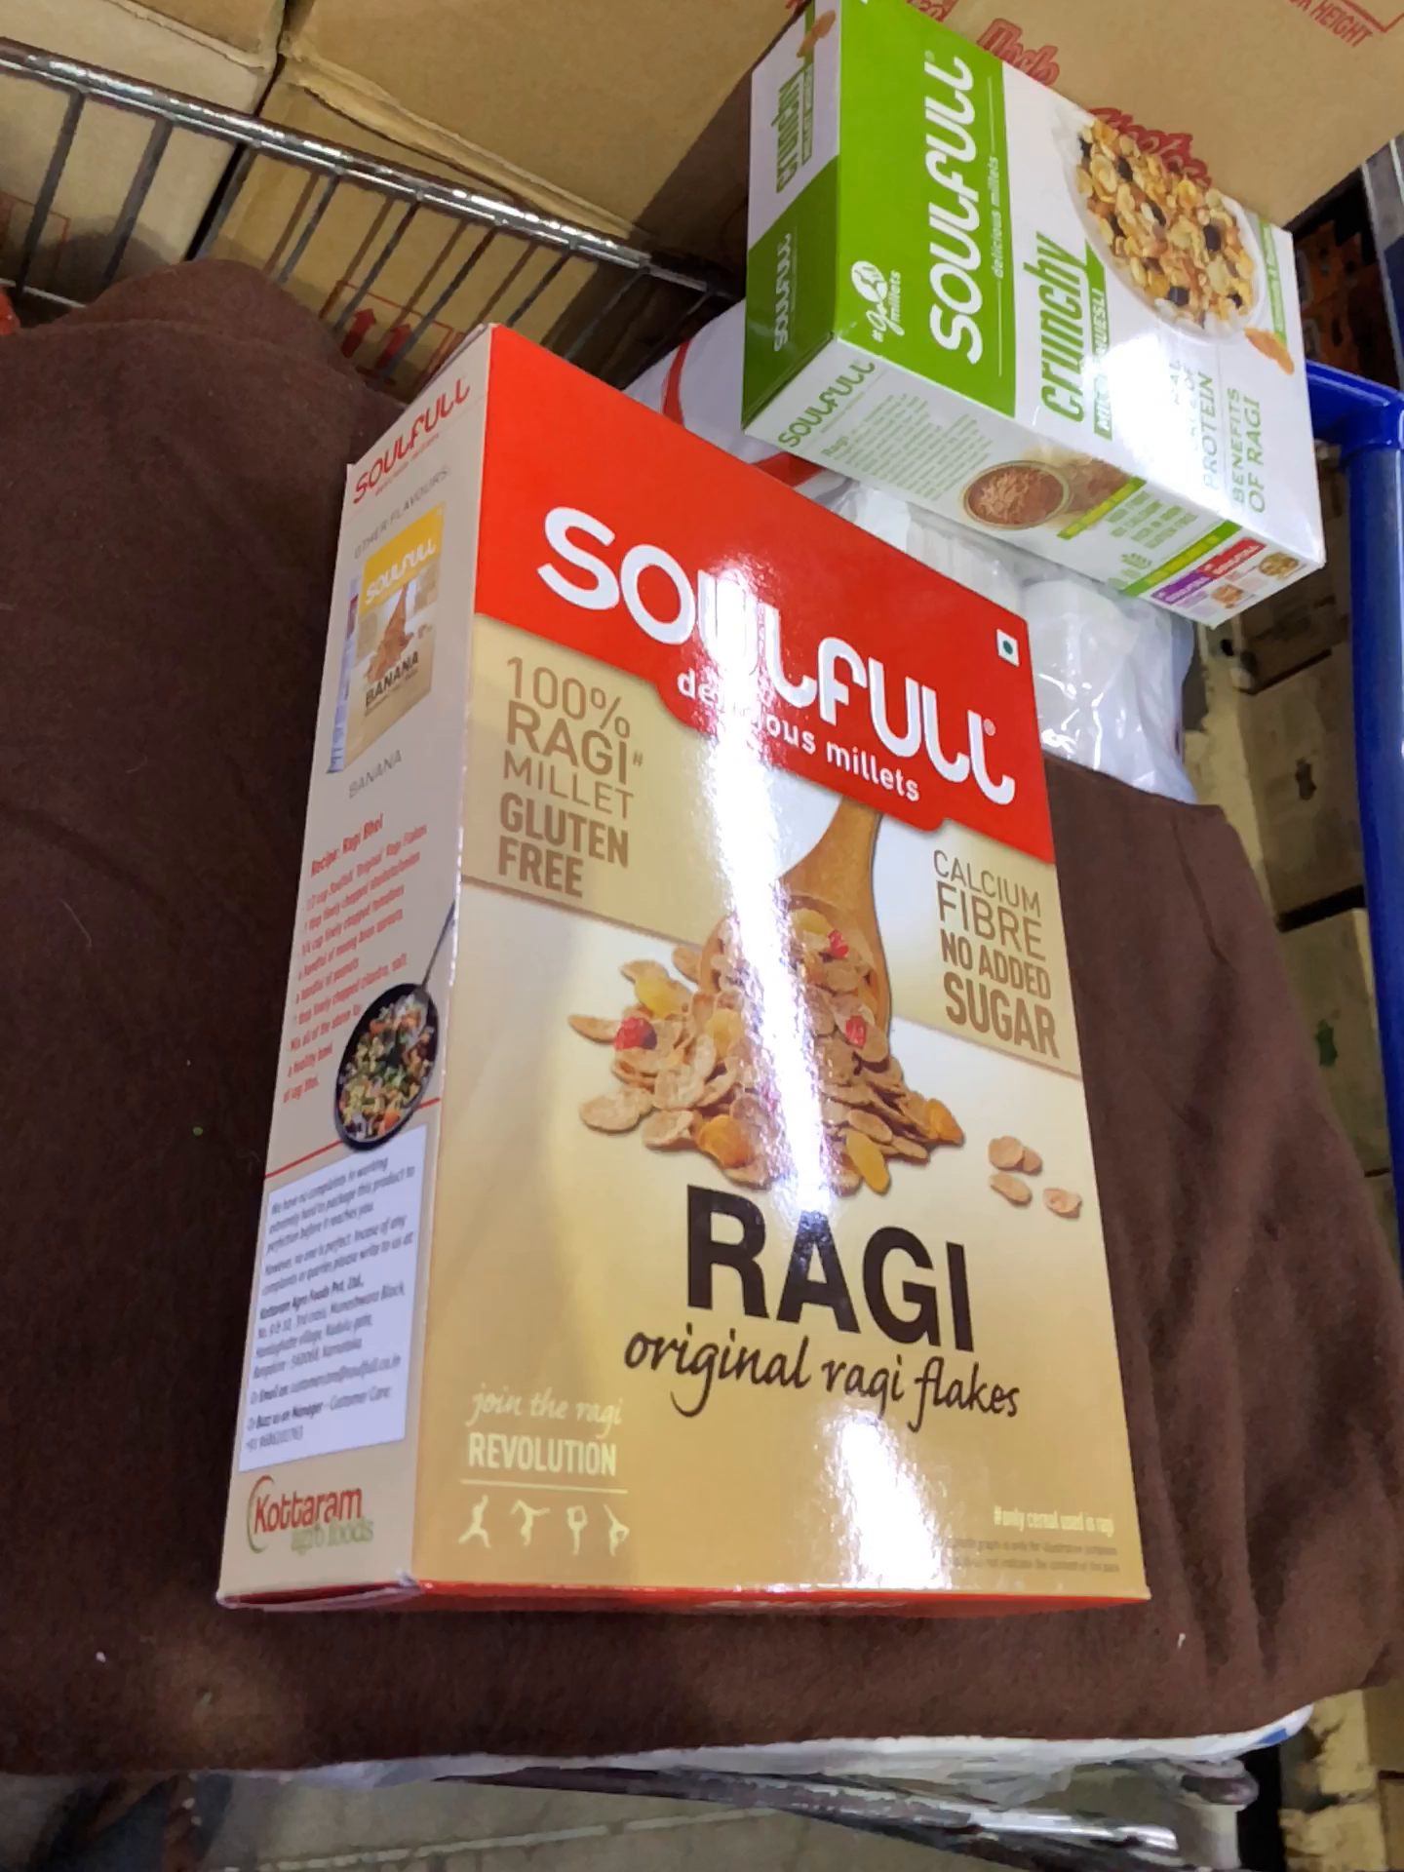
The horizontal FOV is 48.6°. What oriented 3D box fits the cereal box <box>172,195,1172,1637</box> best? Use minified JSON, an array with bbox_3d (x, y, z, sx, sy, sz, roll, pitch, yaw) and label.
[{"bbox_3d":[0.003,0.003,0.304,0.170,0.050,0.241,17,60,-36],"label":"cereal box"}]
